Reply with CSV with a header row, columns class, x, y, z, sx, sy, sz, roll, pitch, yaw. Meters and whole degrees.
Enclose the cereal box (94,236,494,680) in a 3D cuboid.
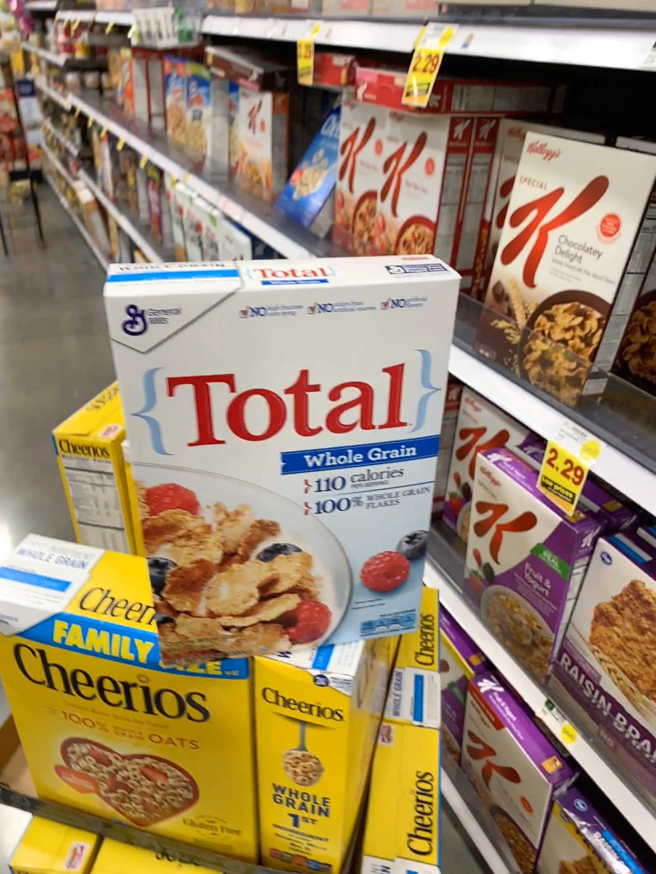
class,x,y,z,sx,sy,sz,roll,pitch,yaw
cereal box,-0.020,0.027,0.451,0.210,0.298,0.050,-5,32,-10
